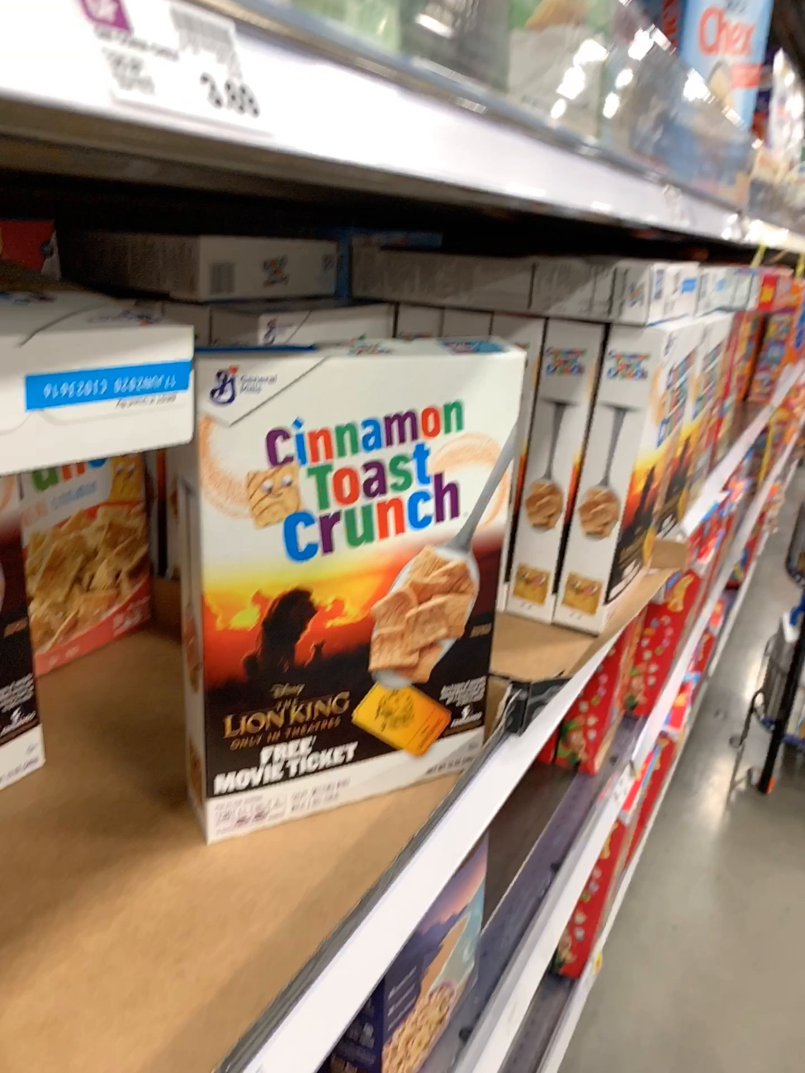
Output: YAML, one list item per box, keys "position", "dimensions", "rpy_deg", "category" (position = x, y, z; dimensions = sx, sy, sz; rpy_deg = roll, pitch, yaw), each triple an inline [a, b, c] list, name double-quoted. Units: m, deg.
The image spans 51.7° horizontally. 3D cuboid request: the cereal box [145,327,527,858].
- position: [-0.039, 0.026, 0.481]
  dimensions: [0.190, 0.279, 0.060]
  rpy_deg: [-8, 24, -28]
  category: "cereal box"
